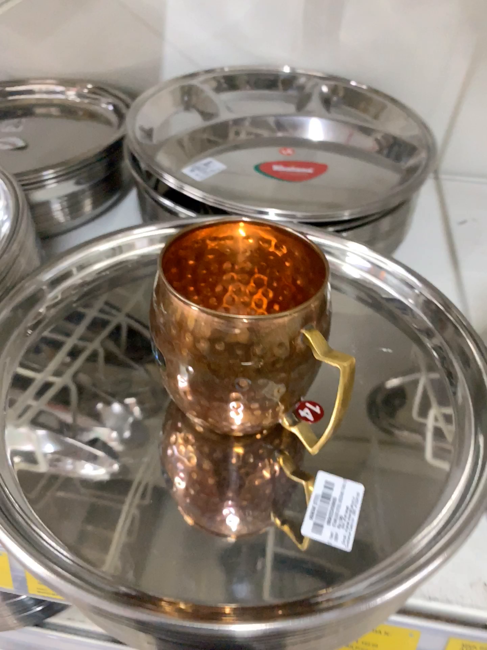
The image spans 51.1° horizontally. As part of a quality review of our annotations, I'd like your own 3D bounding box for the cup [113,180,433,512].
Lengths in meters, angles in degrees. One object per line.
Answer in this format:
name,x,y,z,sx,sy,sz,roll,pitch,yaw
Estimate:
cup,0.009,0.004,0.255,0.090,0.090,0.110,-29,52,-27
